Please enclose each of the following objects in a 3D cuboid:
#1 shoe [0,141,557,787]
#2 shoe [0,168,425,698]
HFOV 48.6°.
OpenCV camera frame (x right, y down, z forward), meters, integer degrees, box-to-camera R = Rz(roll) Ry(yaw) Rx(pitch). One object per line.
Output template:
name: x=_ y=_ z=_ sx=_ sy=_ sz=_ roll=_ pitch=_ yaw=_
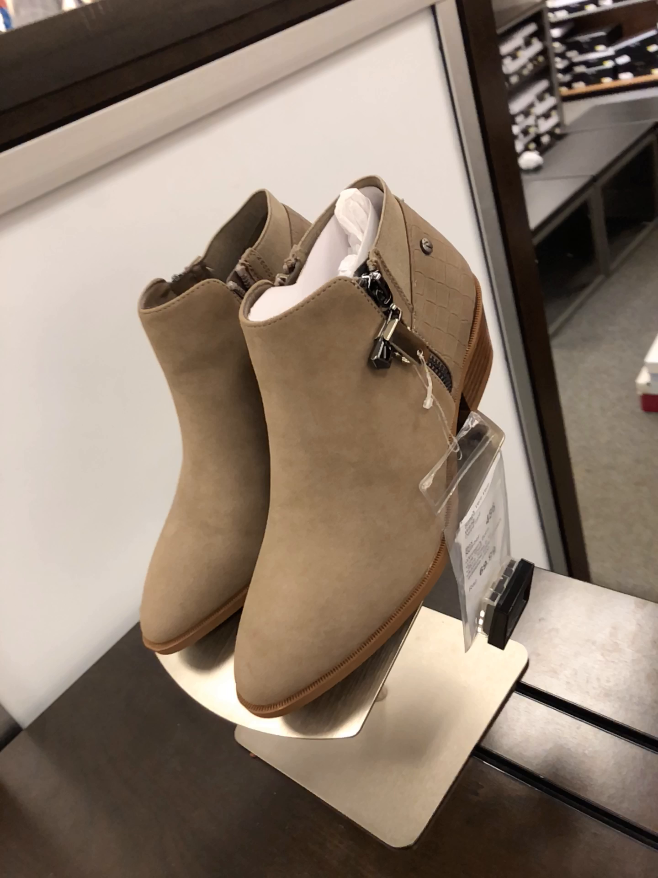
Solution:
shoe: x=0.000 y=-0.004 z=0.338 sx=0.095 sy=0.153 sz=0.240 roll=9 pitch=46 yaw=40
shoe: x=-0.064 y=-0.014 z=0.397 sx=0.095 sy=0.152 sz=0.231 roll=9 pitch=48 yaw=40
